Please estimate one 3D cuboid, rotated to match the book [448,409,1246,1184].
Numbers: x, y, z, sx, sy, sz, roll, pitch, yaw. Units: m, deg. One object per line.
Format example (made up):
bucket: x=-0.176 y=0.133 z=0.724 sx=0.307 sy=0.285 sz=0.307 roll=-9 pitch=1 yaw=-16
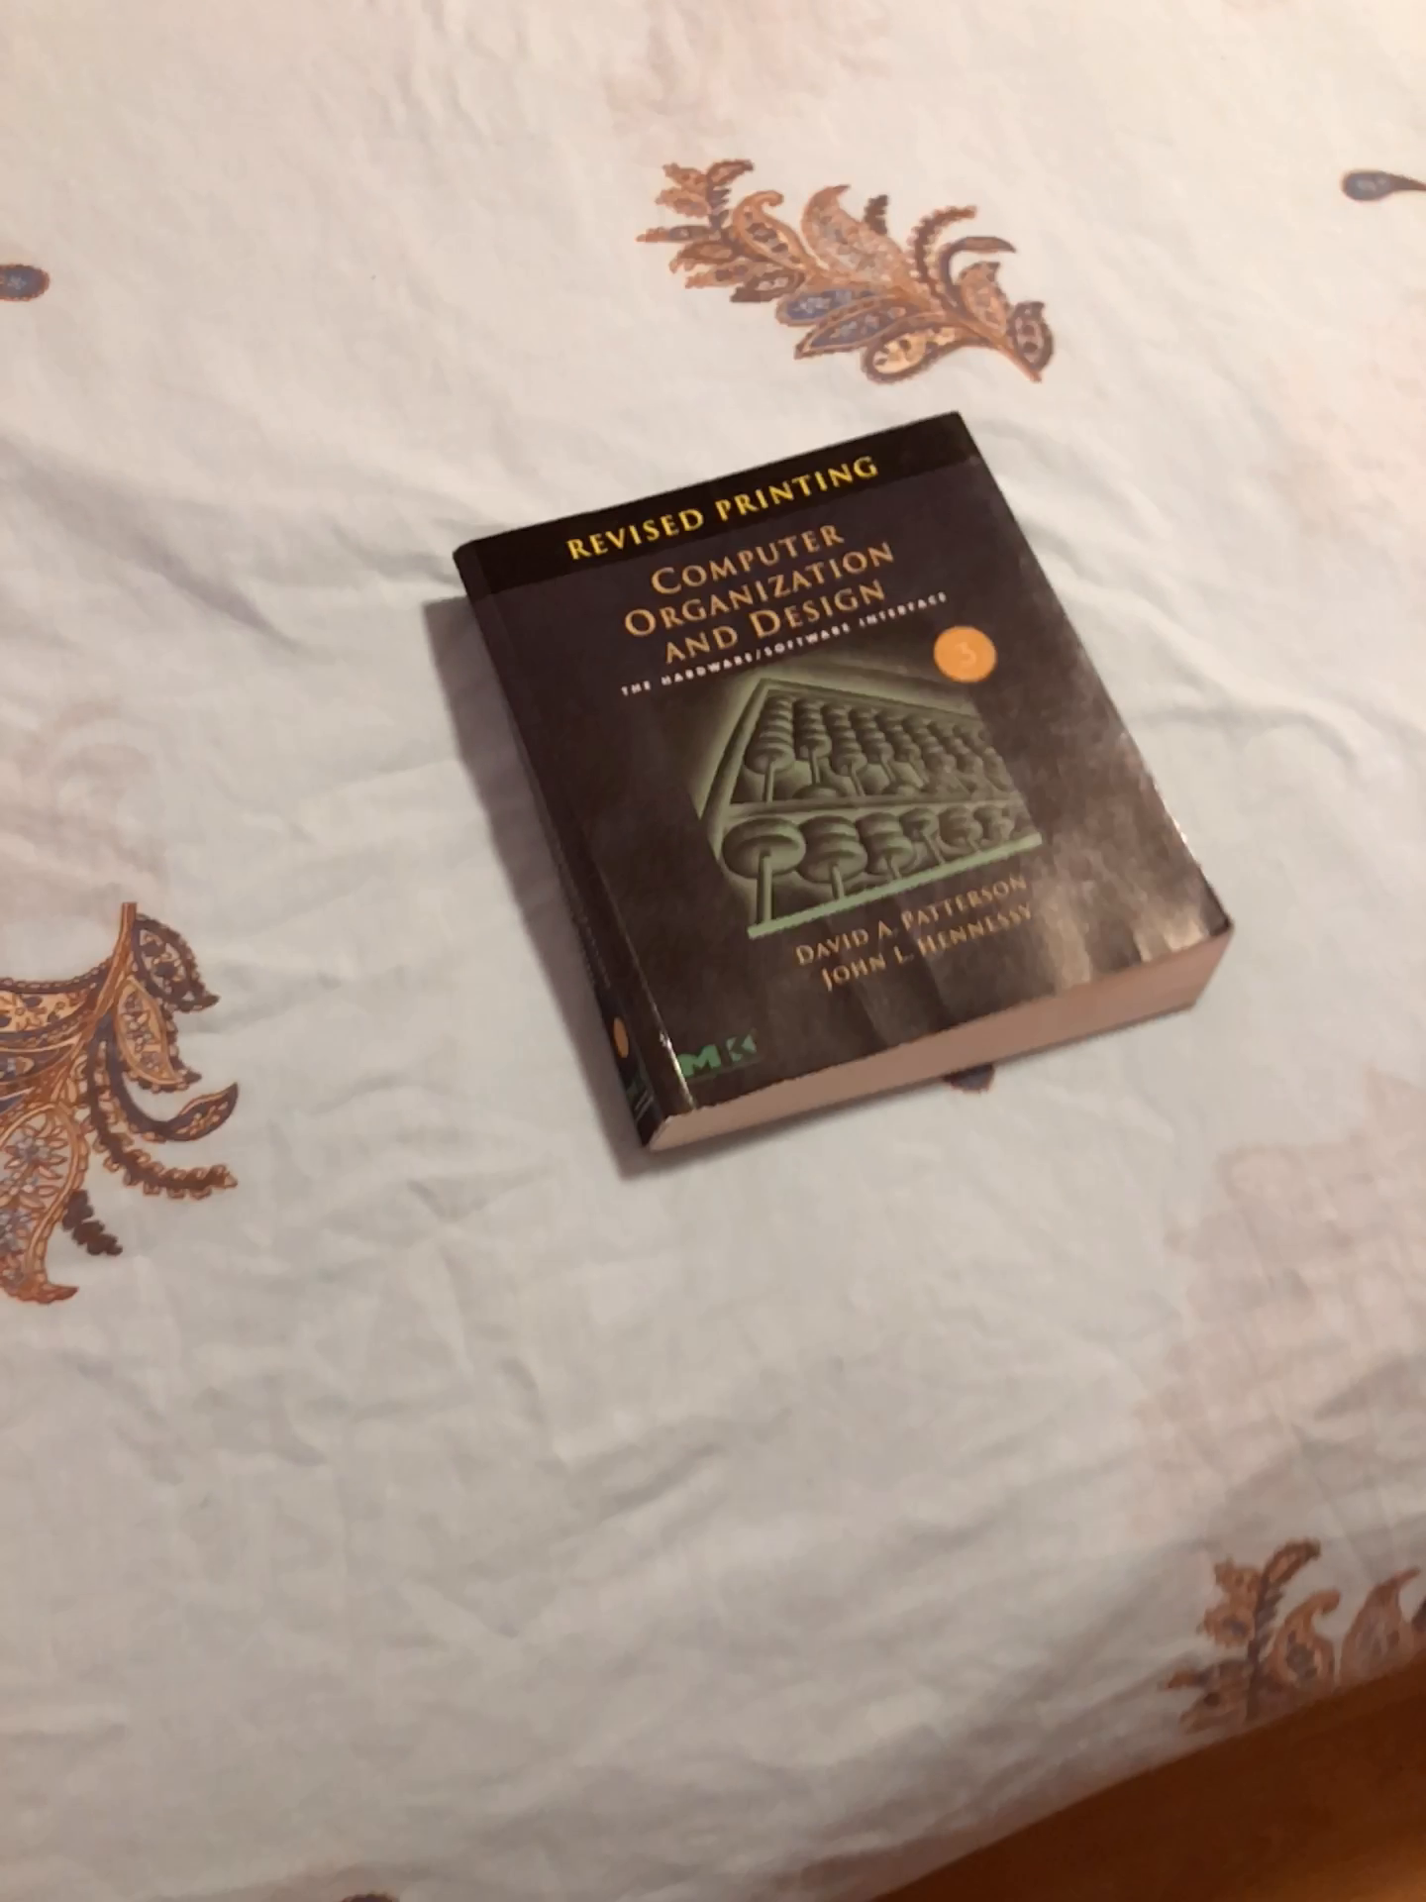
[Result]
book: x=0.038 y=-0.062 z=0.563 sx=0.201 sy=0.073 sz=0.225 roll=-17 pitch=69 yaw=-13
